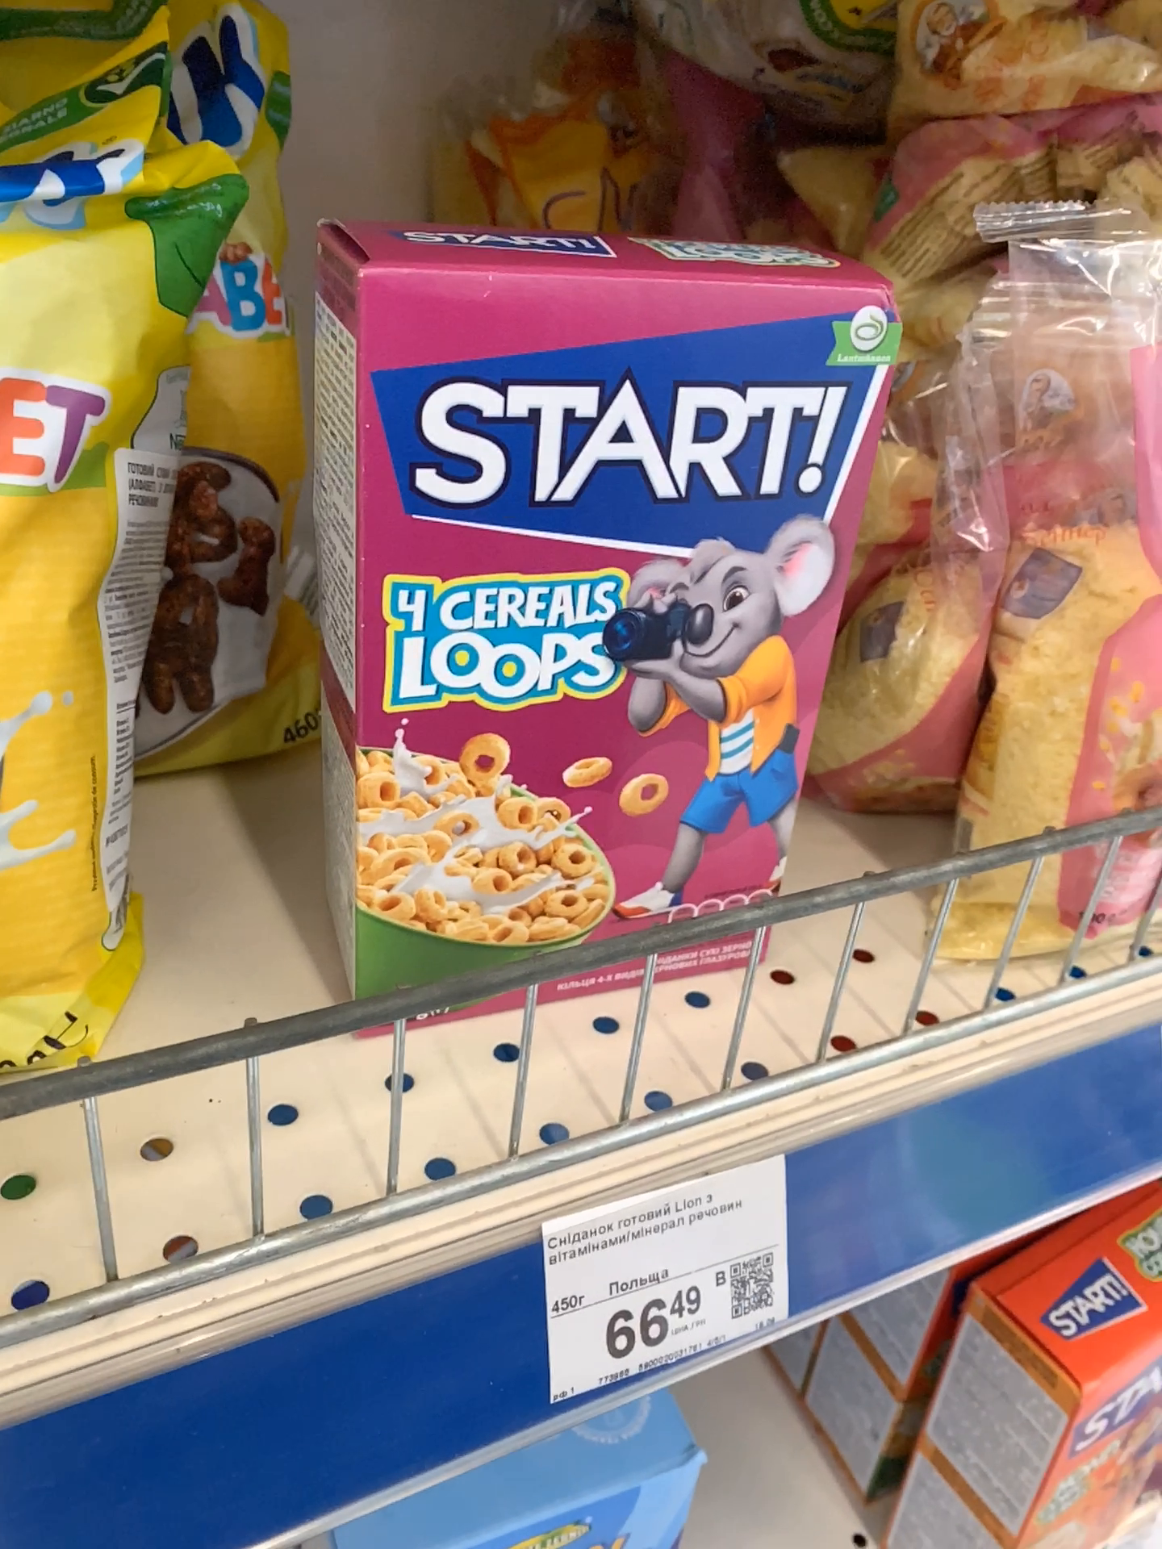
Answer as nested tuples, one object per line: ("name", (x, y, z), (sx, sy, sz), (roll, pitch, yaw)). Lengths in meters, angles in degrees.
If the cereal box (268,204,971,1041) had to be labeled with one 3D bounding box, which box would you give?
("cereal box", (0.000, -0.030, 0.263), (0.120, 0.159, 0.050), (-7, 33, -21))
